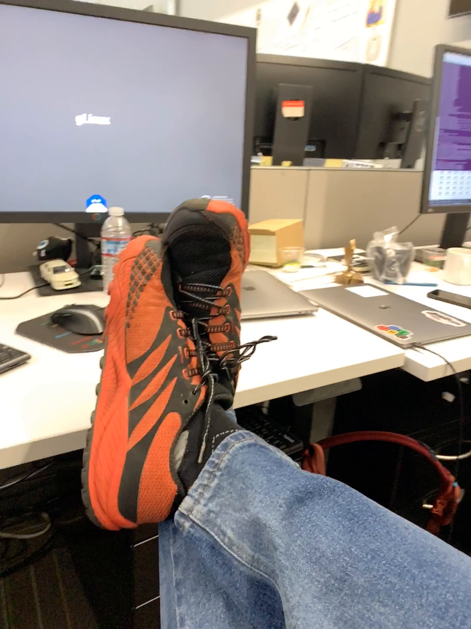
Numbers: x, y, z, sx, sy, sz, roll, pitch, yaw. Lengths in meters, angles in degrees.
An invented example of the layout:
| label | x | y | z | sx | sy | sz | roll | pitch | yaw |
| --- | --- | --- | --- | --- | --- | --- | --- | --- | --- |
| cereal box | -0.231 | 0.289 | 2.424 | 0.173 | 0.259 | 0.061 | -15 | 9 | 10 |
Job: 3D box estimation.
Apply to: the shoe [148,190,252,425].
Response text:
| label | x | y | z | sx | sy | sz | roll | pitch | yaw |
| --- | --- | --- | --- | --- | --- | --- | --- | --- | --- |
| shoe | -0.036 | -0.006 | 0.588 | 0.107 | 0.271 | 0.083 | 1 | 22 | 2 |

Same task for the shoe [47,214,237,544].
| label | x | y | z | sx | sy | sz | roll | pitch | yaw |
| --- | --- | --- | --- | --- | --- | --- | --- | --- | --- |
| shoe | -0.078 | 0.055 | 0.483 | 0.132 | 0.290 | 0.091 | 3 | -15 | 5 |
